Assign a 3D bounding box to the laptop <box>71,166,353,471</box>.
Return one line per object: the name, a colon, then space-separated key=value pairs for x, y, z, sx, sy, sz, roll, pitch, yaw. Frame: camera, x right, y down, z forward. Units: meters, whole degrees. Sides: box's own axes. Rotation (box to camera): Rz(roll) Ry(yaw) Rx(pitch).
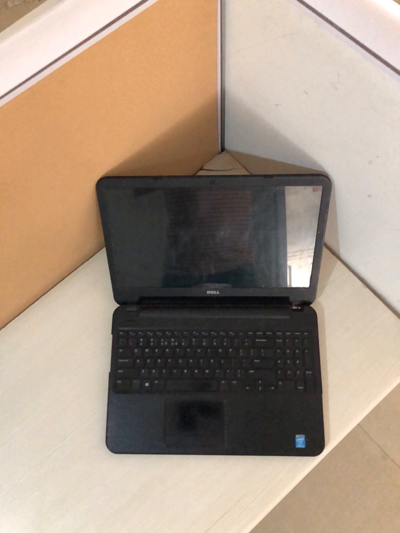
laptop: x=0.018 y=0.076 z=0.686 sx=0.352 sy=0.175 sz=0.413 roll=0 pitch=74 yaw=3
